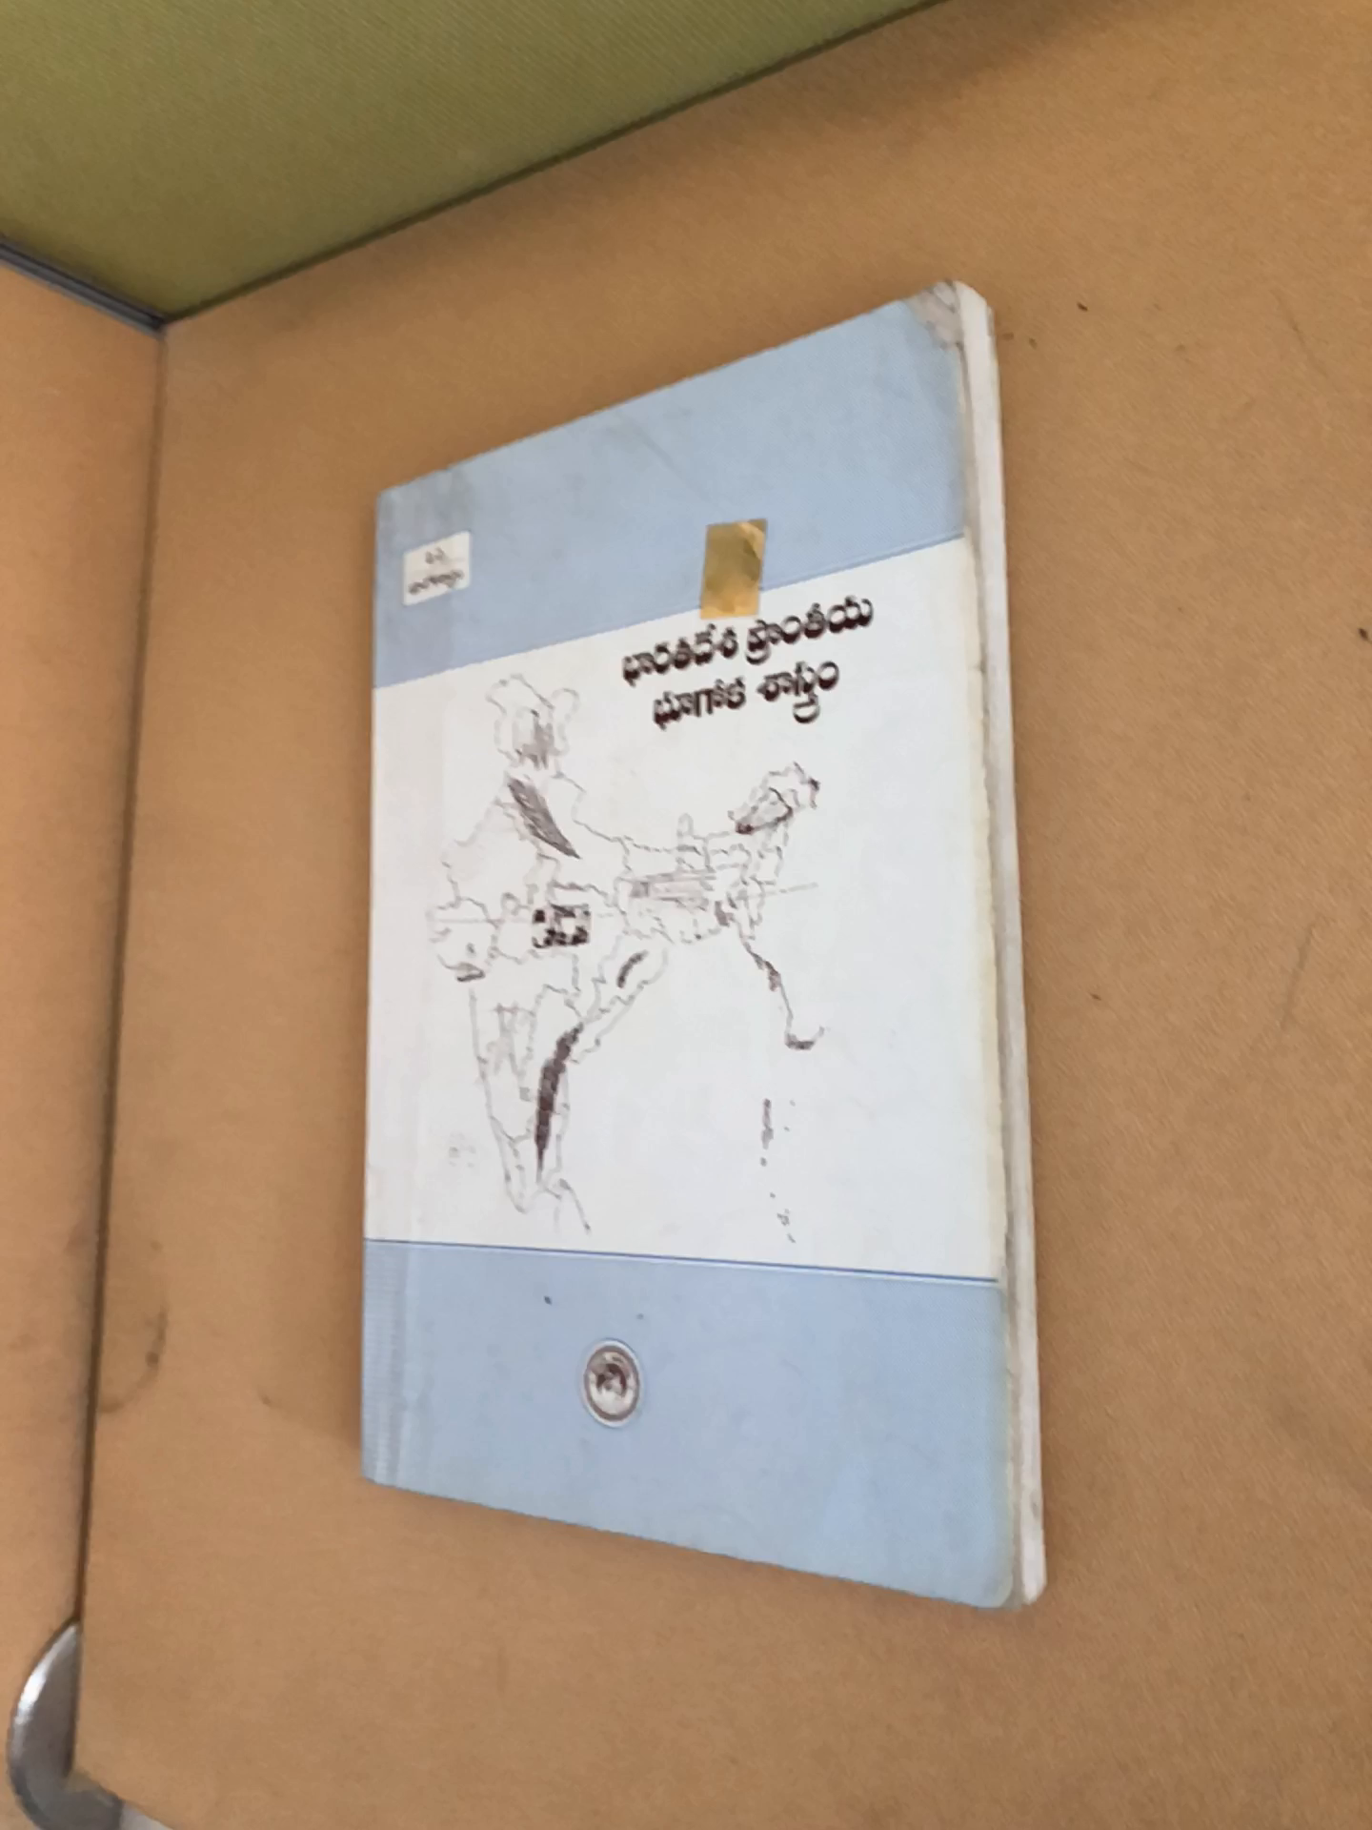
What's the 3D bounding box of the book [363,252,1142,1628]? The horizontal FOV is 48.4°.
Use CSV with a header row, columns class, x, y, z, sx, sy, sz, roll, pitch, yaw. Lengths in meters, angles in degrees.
class,x,y,z,sx,sy,sz,roll,pitch,yaw
book,0.002,0.006,0.342,0.181,0.030,0.250,-6,81,37
